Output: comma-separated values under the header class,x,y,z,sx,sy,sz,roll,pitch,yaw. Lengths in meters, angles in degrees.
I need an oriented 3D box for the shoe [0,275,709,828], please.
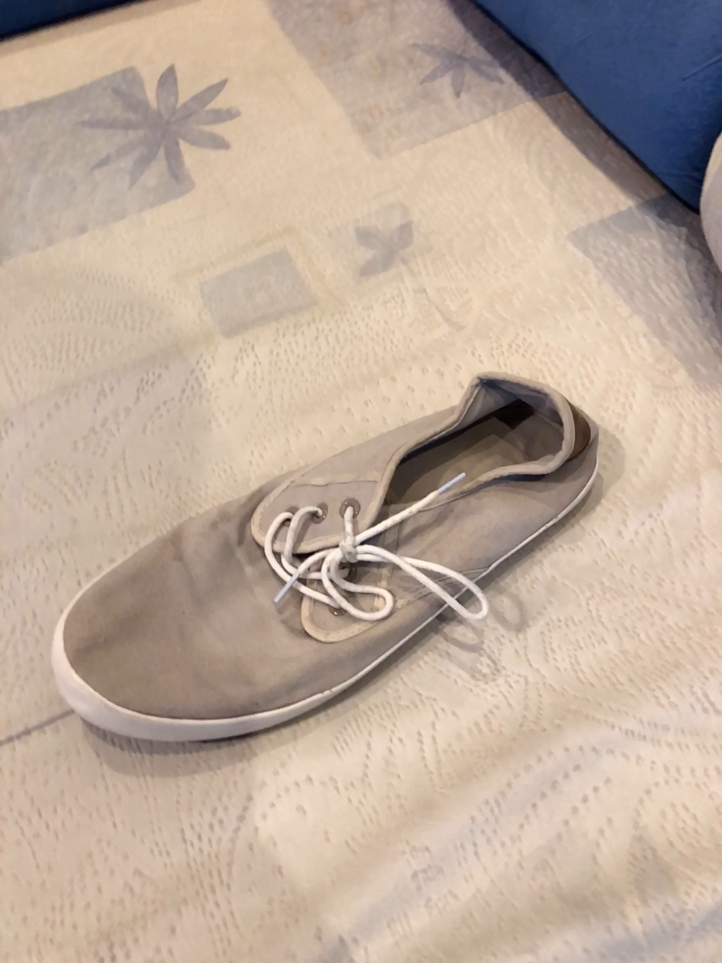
class,x,y,z,sx,sy,sz,roll,pitch,yaw
shoe,-0.006,0.023,0.345,0.270,0.080,0.110,-25,63,-13
